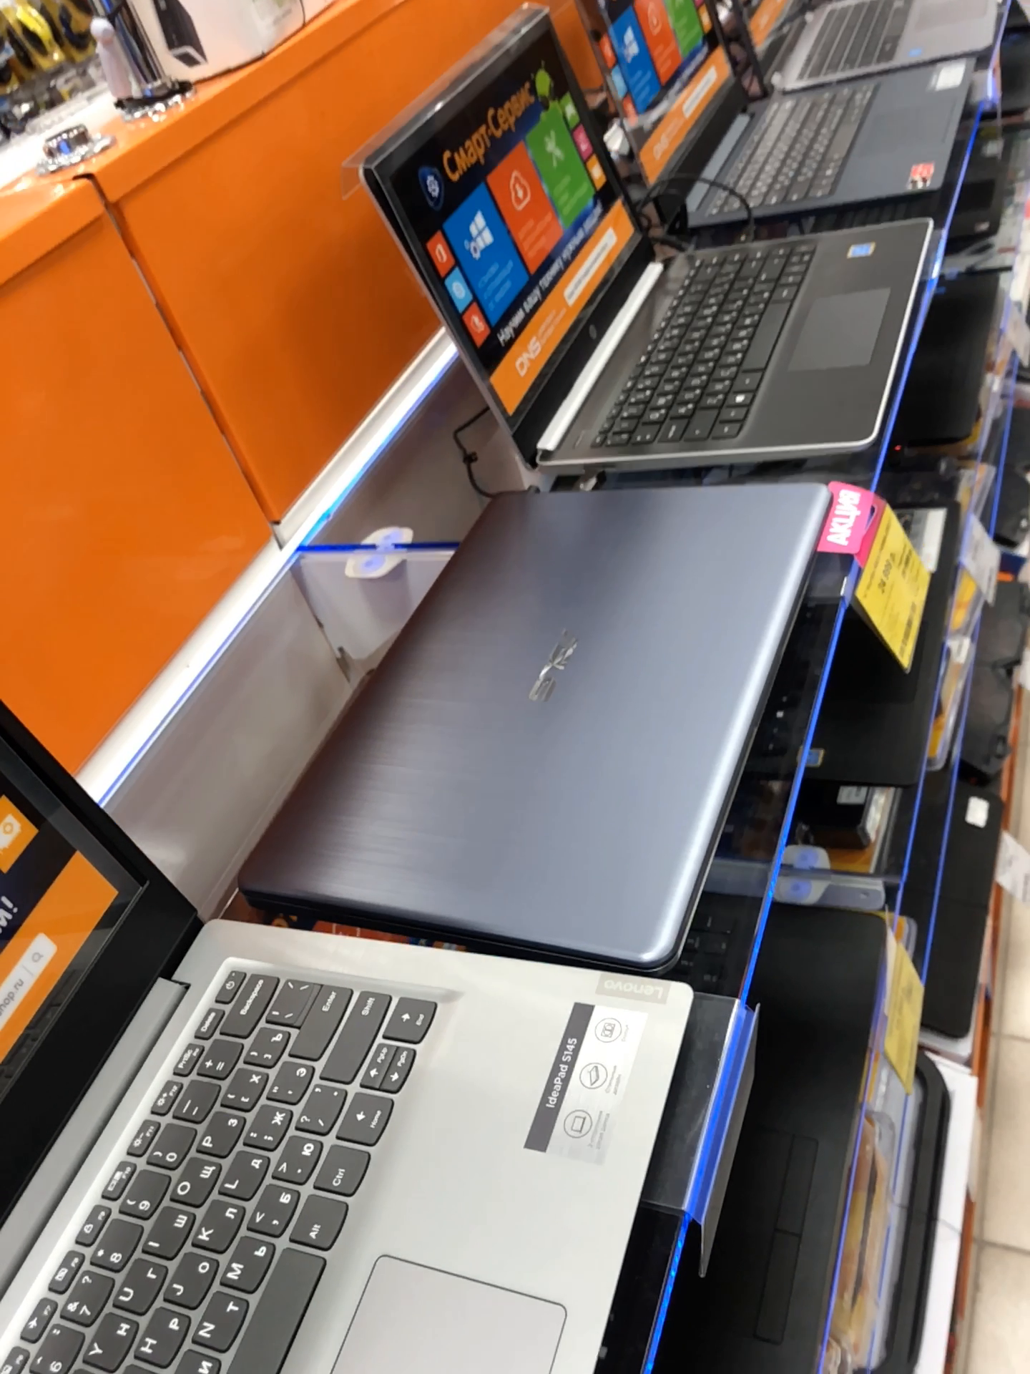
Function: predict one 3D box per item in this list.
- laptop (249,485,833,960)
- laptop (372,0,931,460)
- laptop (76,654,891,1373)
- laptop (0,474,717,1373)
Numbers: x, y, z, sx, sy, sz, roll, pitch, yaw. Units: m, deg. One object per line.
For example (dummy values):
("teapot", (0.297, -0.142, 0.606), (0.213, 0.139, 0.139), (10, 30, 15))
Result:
("laptop", (0.028, -0.011, 0.595), (0.214, 0.001, 0.325), (4, 44, 27))
("laptop", (0.124, -0.343, 0.789), (0.271, 0.205, 0.337), (2, 42, 26))
("laptop", (0.024, 0.197, 0.667), (0.313, 0.226, 0.378), (3, 44, 27))
("laptop", (-0.146, 0.147, 0.306), (0.289, 0.224, 0.354), (1, 43, 25))
